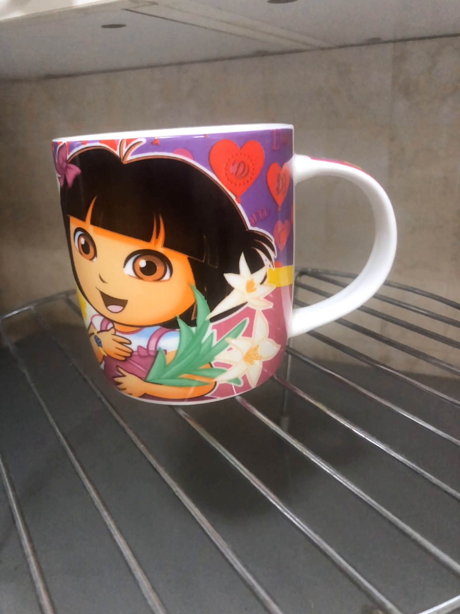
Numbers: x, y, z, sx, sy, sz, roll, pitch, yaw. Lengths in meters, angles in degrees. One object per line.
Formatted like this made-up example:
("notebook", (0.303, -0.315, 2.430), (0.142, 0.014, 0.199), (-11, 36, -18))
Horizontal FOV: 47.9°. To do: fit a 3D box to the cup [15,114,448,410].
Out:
("cup", (0.002, -0.021, 0.191), (0.120, 0.090, 0.070), (-1, 20, 4))
